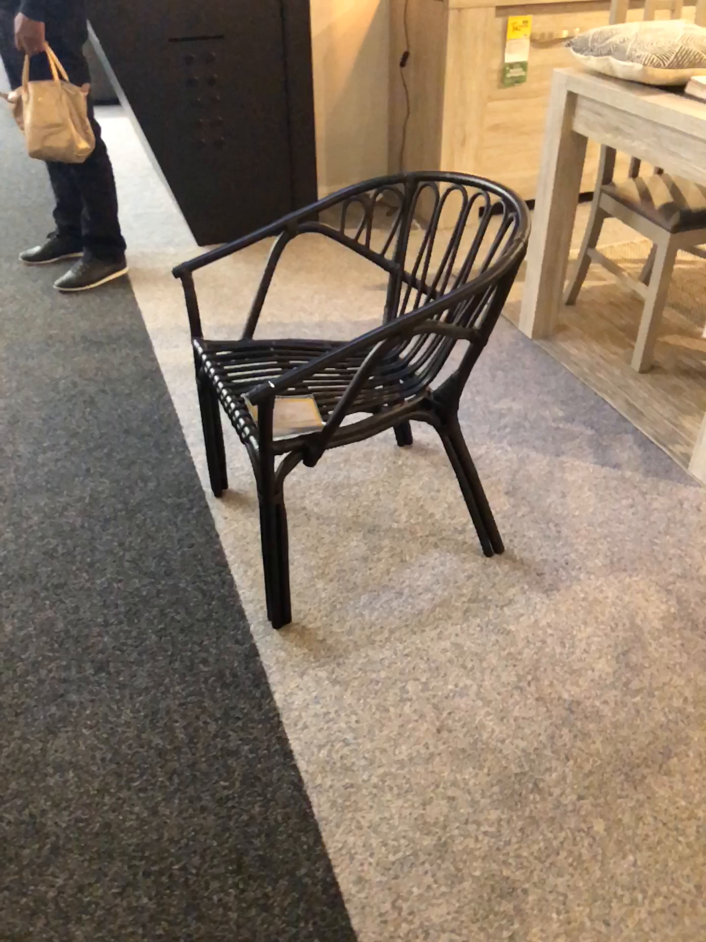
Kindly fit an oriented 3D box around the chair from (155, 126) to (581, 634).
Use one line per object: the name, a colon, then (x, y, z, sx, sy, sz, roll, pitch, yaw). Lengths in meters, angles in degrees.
chair: (-0.010, -0.197, 1.502, 0.561, 0.735, 0.532, -12, 38, -15)
